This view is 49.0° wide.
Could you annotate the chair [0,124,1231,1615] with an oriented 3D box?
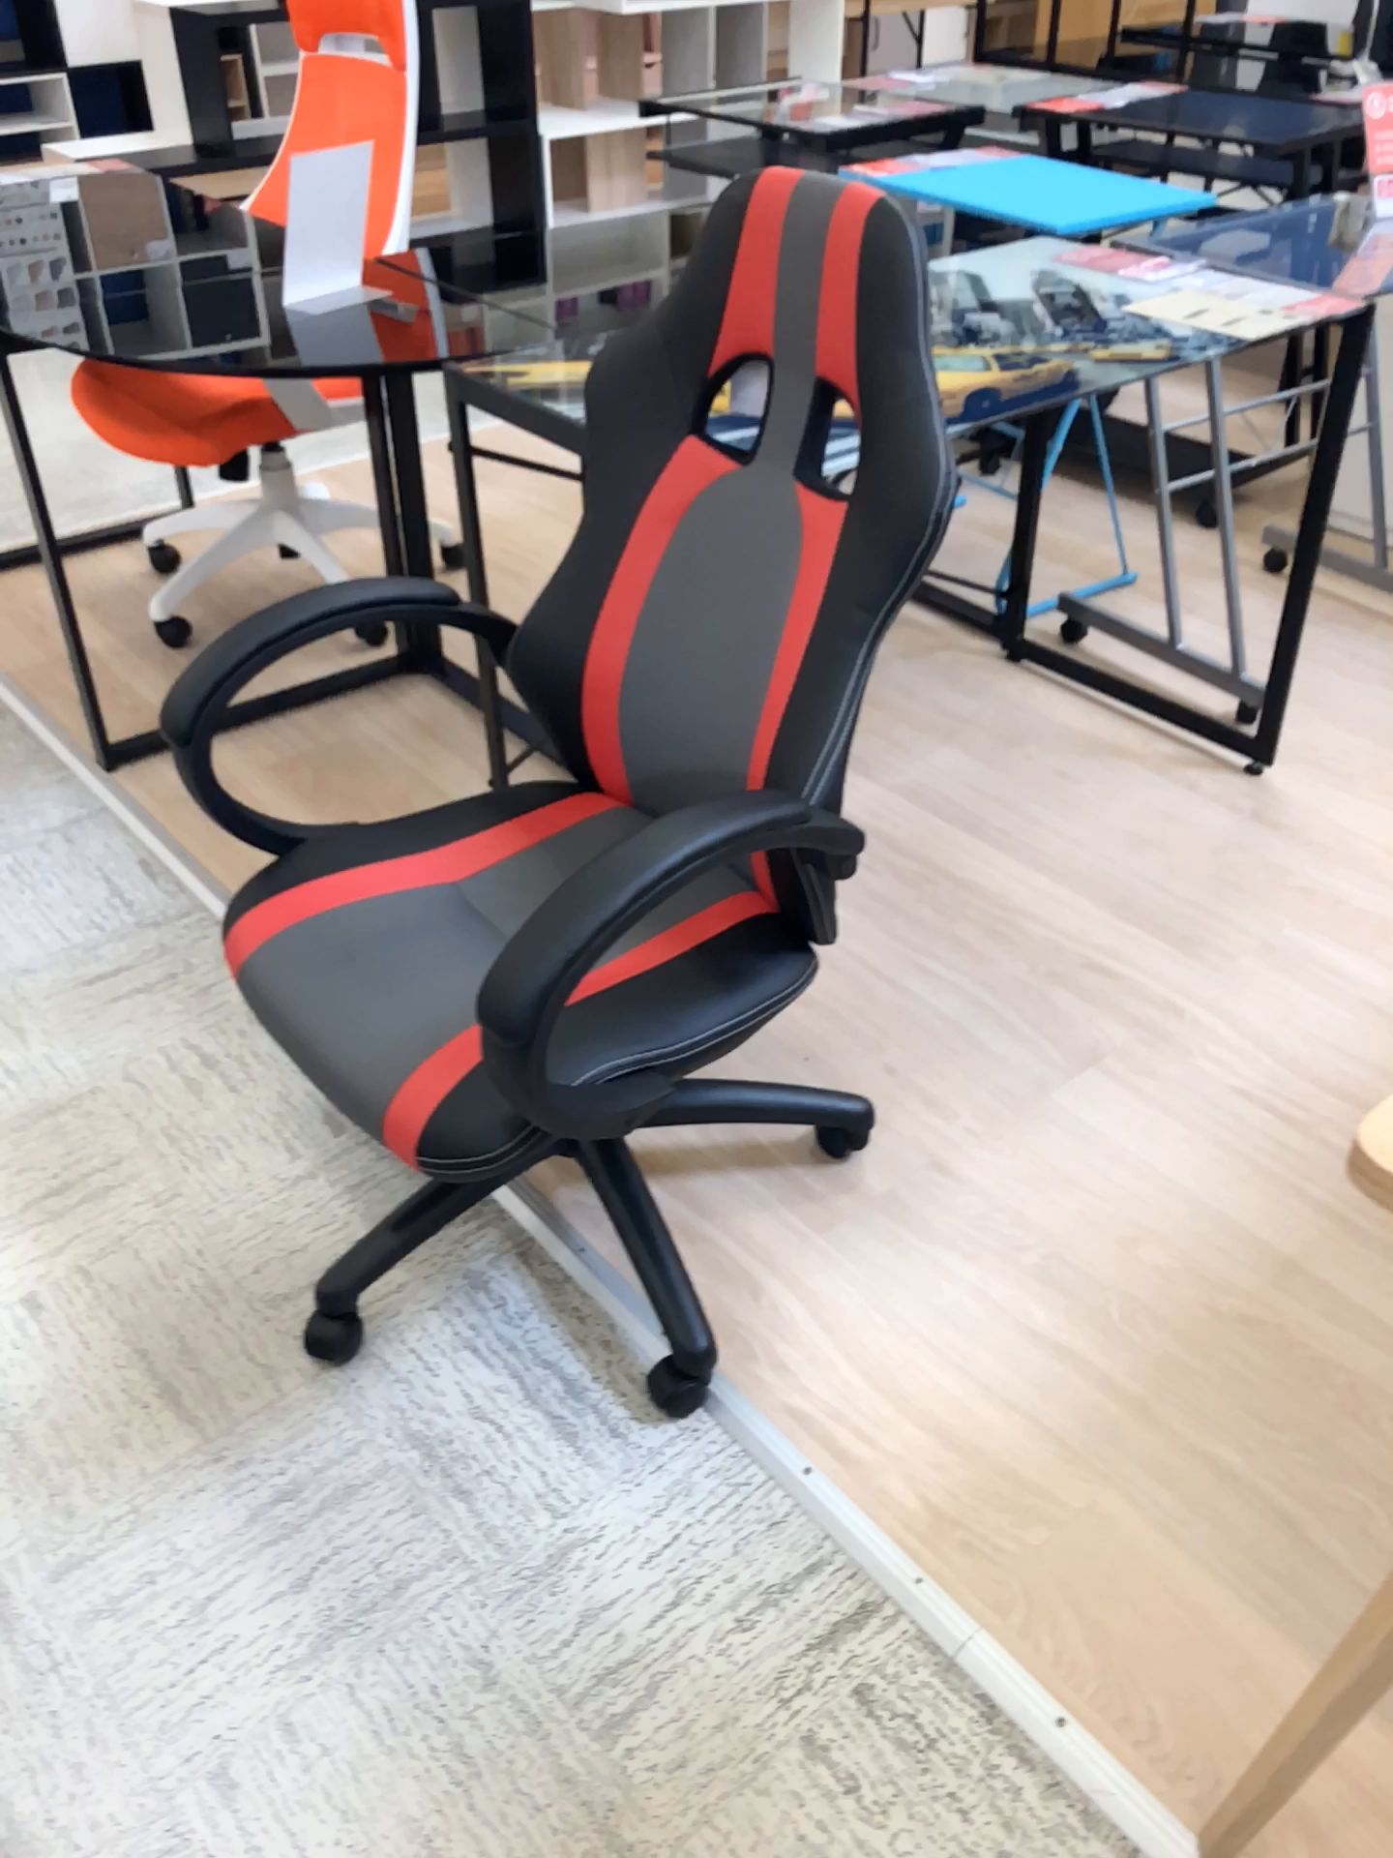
[{"bbox_3d":[-0.118,-0.118,1.342,0.693,0.924,0.691,-25,41,-30],"label":"chair"}]
